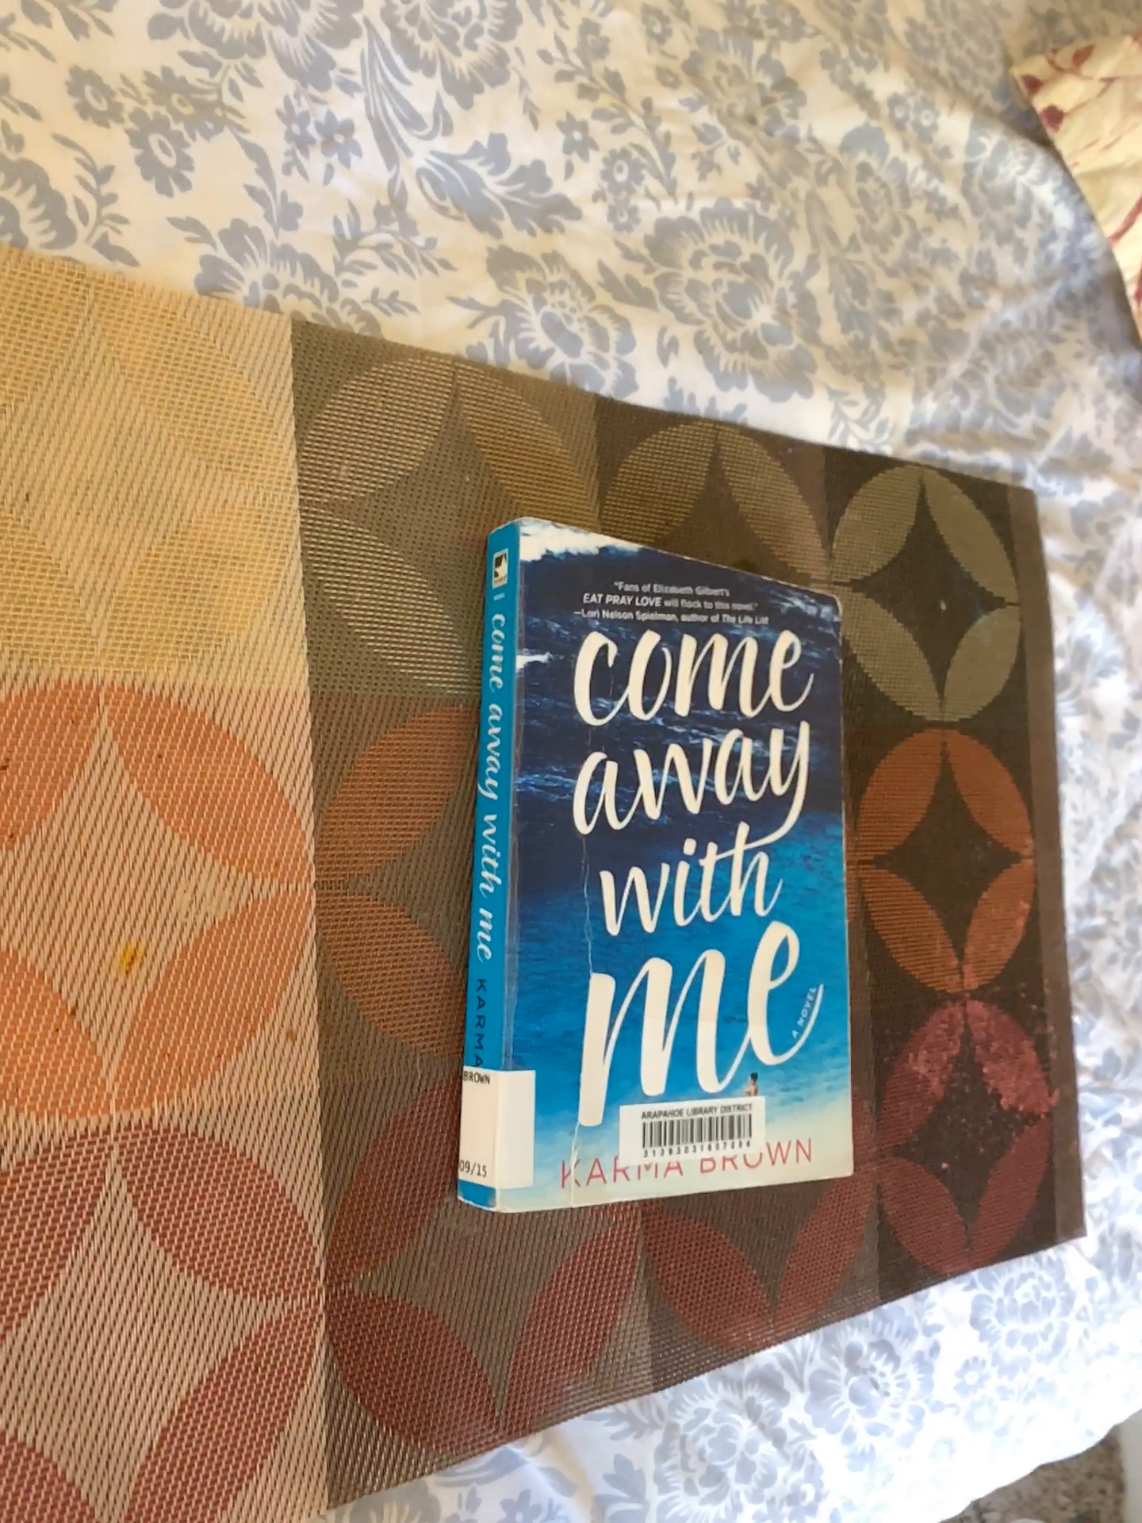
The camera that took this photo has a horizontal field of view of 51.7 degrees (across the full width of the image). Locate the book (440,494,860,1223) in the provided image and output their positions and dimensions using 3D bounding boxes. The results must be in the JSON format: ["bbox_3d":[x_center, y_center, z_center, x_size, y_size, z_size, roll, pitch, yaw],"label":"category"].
[{"bbox_3d":[0.032,0.031,0.371,0.135,0.030,0.200,7,80,-32],"label":"book"}]
